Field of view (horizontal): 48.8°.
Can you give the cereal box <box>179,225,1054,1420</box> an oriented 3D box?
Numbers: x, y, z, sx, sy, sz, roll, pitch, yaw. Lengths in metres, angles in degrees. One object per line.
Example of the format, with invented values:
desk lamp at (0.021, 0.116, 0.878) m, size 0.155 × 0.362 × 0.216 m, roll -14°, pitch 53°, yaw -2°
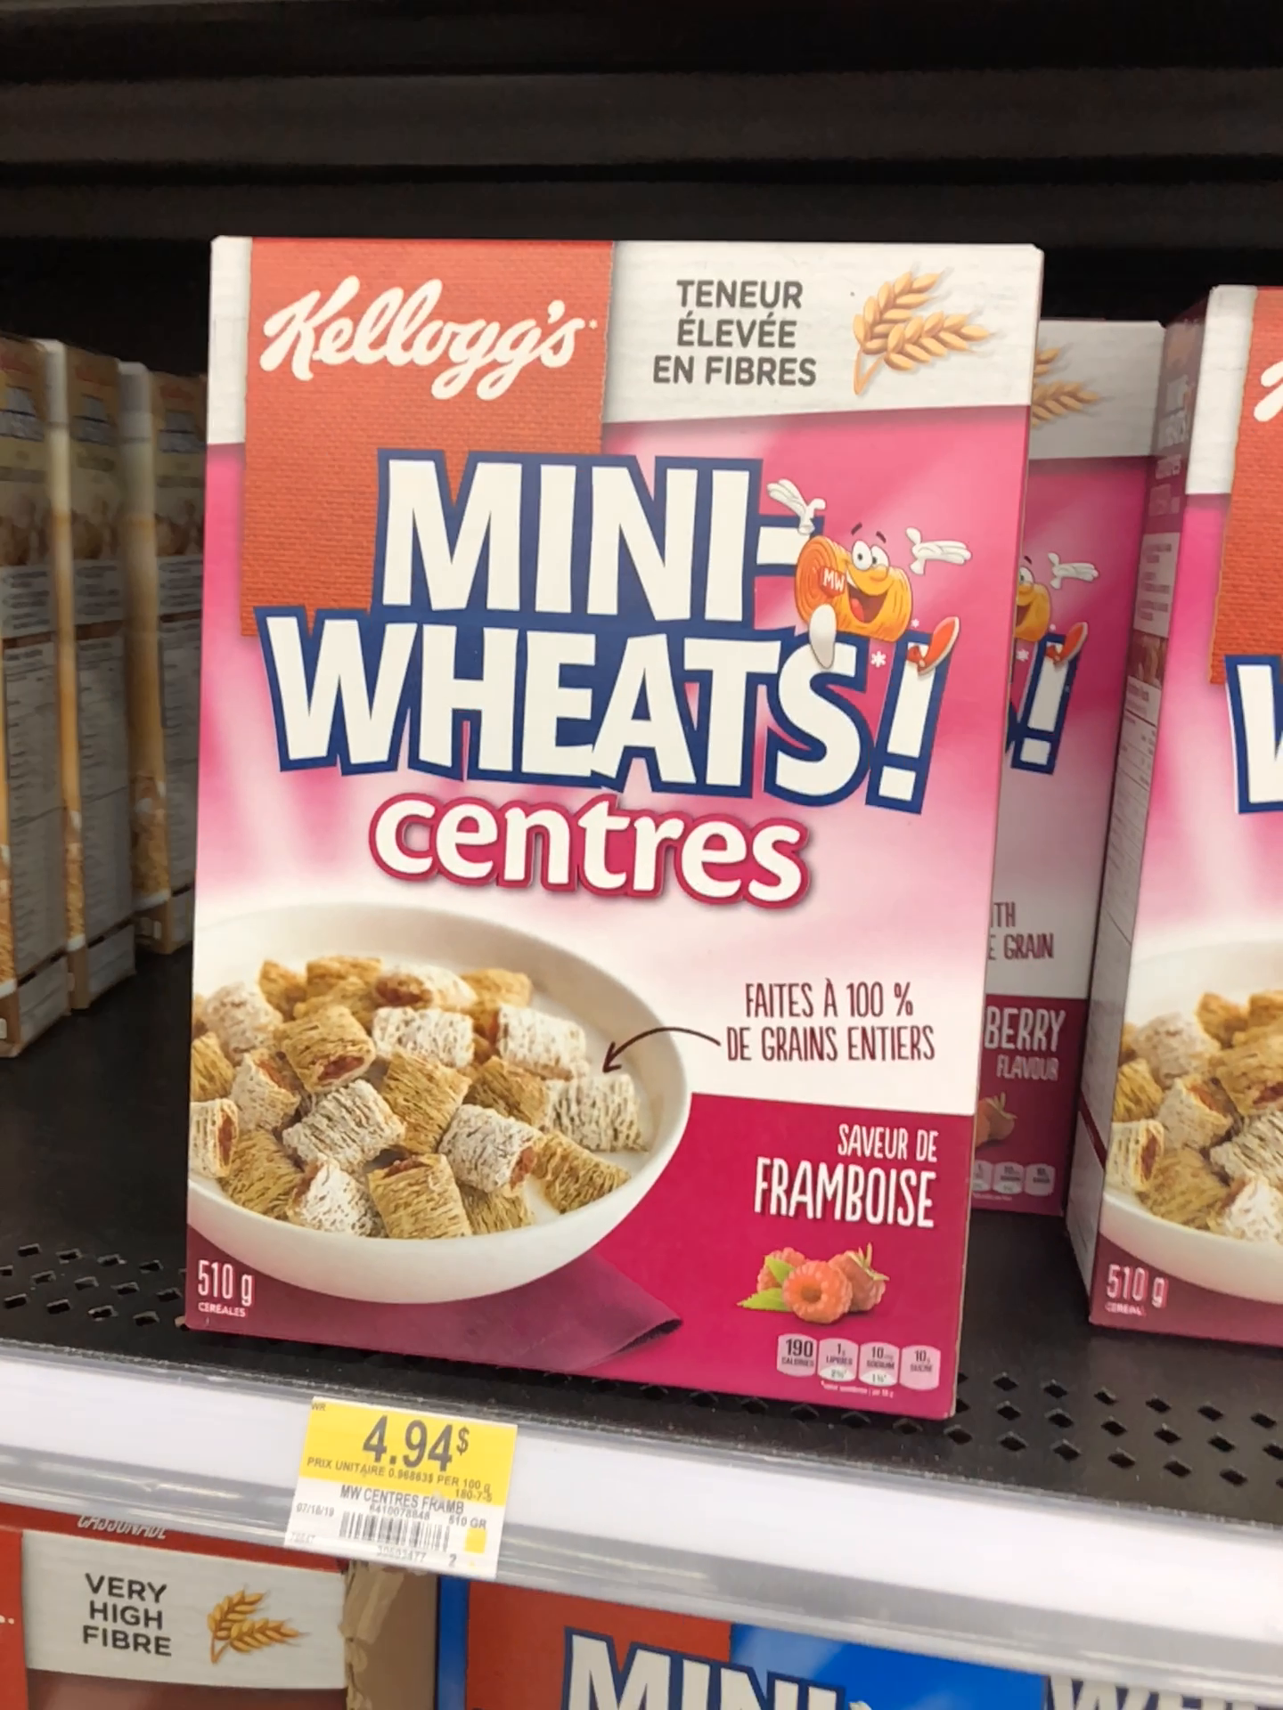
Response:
cereal box at (-0.009, -0.011, 0.354) m, size 0.190 × 0.259 × 0.070 m, roll 4°, pitch 7°, yaw 9°
